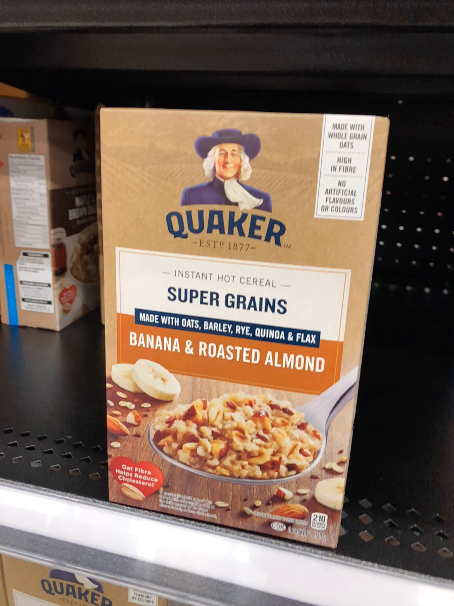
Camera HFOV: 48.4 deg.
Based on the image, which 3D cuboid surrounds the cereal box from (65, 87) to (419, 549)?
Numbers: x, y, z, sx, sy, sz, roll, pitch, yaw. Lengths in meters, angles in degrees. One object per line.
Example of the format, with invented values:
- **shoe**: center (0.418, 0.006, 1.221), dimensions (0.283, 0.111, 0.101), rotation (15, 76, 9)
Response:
- **cereal box**: center (0.005, 0.003, 0.243), dimensions (0.130, 0.189, 0.070), rotation (6, 18, 12)
